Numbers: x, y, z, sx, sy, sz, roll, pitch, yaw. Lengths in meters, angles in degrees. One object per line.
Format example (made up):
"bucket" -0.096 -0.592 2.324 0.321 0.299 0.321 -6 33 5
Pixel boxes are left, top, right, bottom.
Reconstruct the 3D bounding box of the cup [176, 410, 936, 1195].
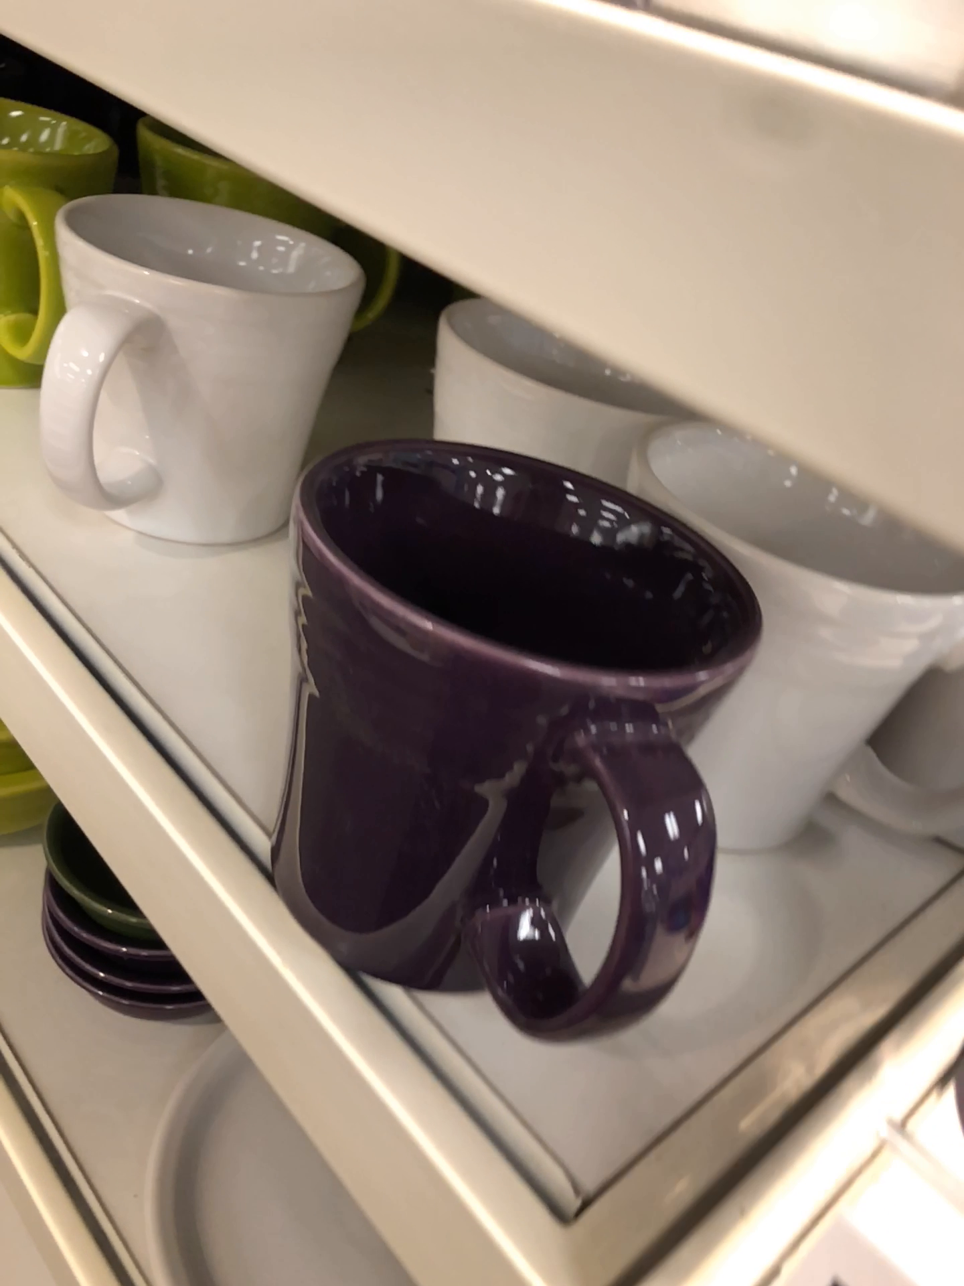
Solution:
"cup" 0.006 0.023 0.247 0.090 0.099 0.127 -18 45 -41
